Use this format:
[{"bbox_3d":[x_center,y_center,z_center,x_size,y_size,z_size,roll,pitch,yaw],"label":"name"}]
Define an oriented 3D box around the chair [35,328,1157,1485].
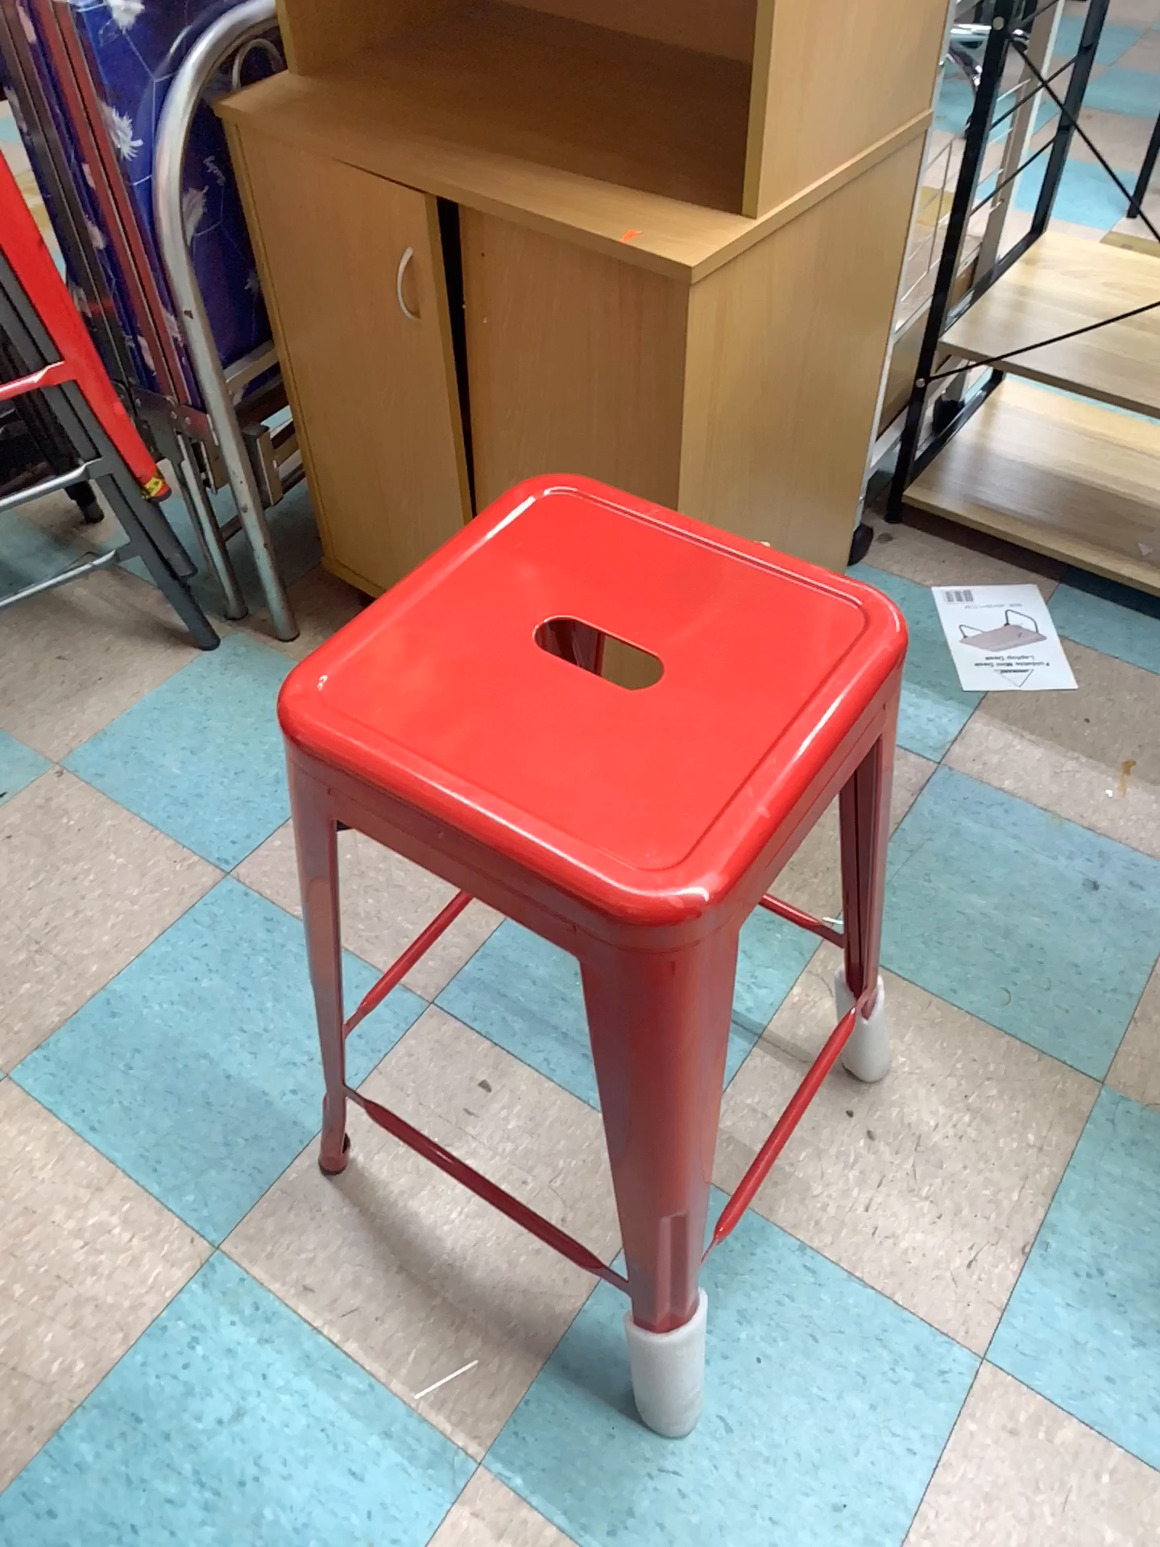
[{"bbox_3d":[0.030,0.109,0.860,0.435,0.598,0.439,27,55,23],"label":"chair"}]
